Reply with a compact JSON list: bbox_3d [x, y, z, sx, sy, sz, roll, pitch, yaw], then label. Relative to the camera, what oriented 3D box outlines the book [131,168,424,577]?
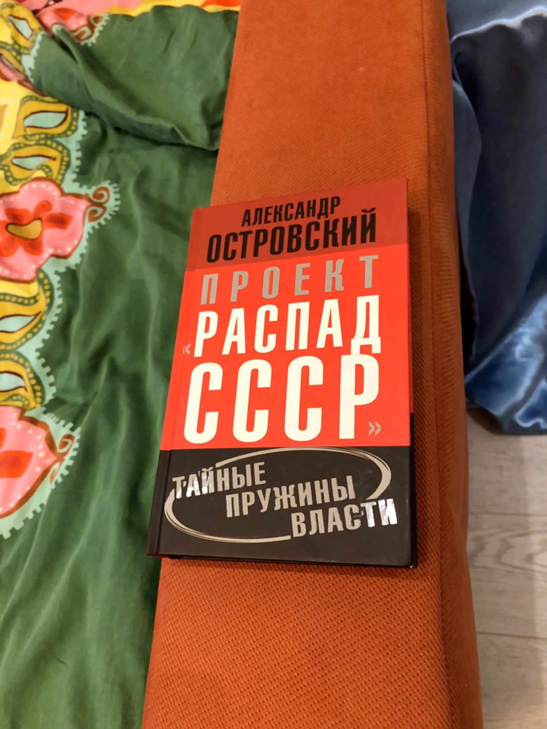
[{"bbox_3d":[0.007,-0.001,0.322,0.135,0.030,0.207,-3,67,18],"label":"book"}]
